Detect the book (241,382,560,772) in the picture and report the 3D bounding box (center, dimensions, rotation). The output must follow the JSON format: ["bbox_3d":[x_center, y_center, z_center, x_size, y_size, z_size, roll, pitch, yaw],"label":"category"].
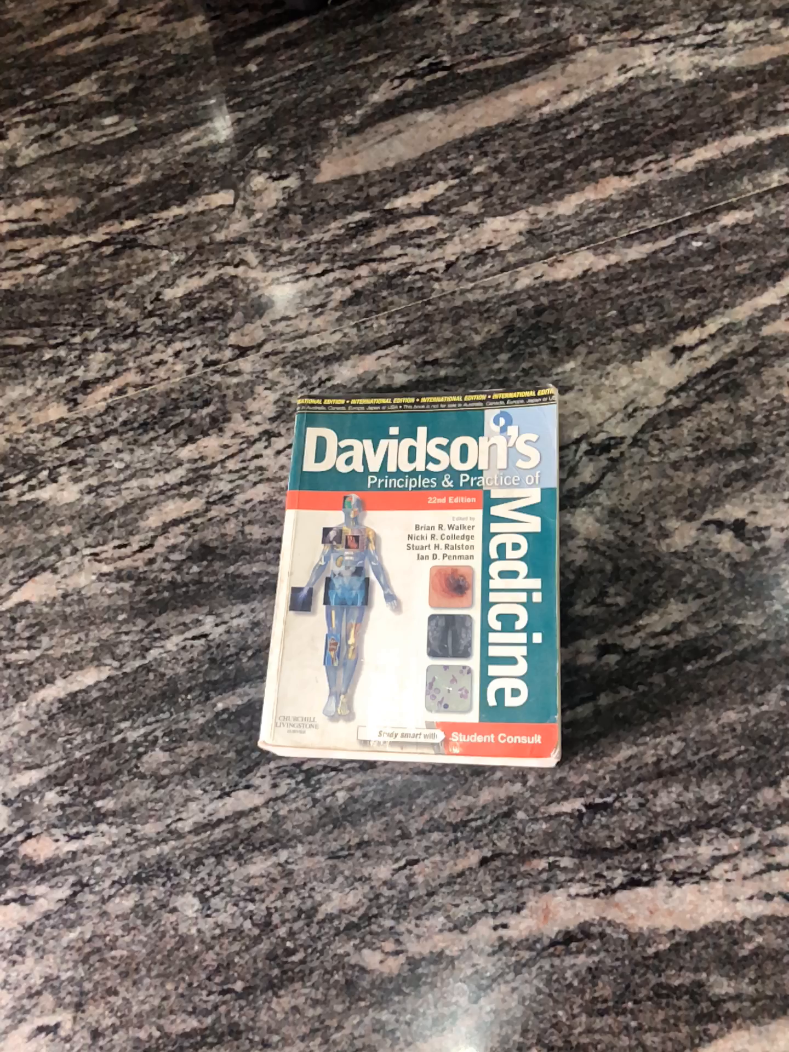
[{"bbox_3d":[0.013,0.033,0.617,0.200,0.070,0.260,-1,69,10],"label":"book"}]
